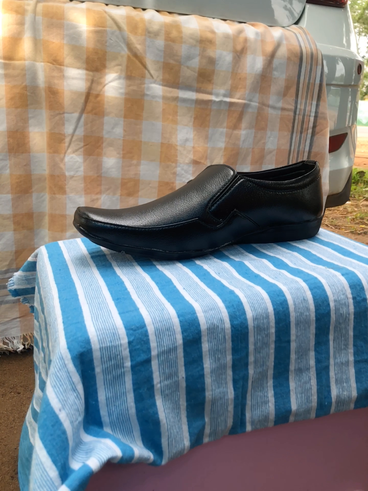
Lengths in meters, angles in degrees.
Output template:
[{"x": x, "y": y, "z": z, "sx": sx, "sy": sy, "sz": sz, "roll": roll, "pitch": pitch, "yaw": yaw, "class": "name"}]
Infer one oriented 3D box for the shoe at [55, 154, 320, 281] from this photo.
[{"x": 0.011, "y": -0.049, "z": 0.492, "sx": 0.301, "sy": 0.110, "sz": 0.100, "roll": -7, "pitch": 19, "yaw": -27, "class": "shoe"}]
